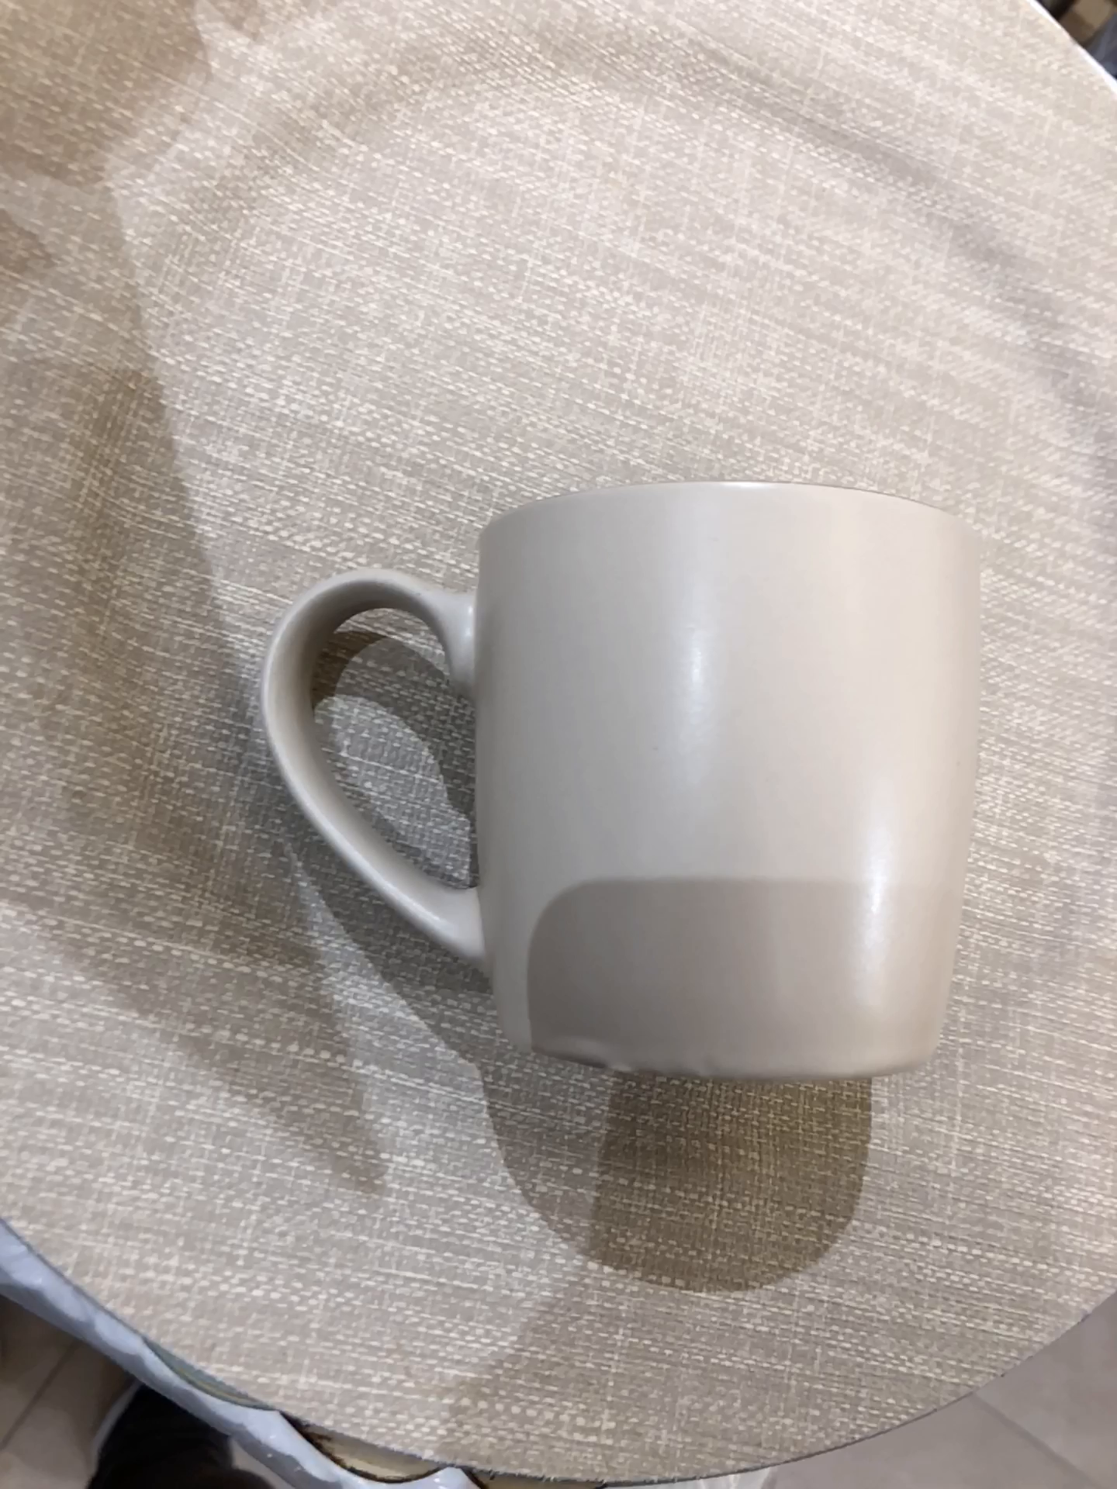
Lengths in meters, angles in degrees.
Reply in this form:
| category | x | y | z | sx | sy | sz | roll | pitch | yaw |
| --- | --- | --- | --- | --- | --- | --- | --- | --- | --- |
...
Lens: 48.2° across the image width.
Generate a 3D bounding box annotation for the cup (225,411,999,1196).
| category | x | y | z | sx | sy | sz | roll | pitch | yaw |
| --- | --- | --- | --- | --- | --- | --- | --- | --- | --- |
| cup | 0.015 | 0.010 | 0.197 | 0.100 | 0.080 | 0.090 | -1 | 85 | 18 |
